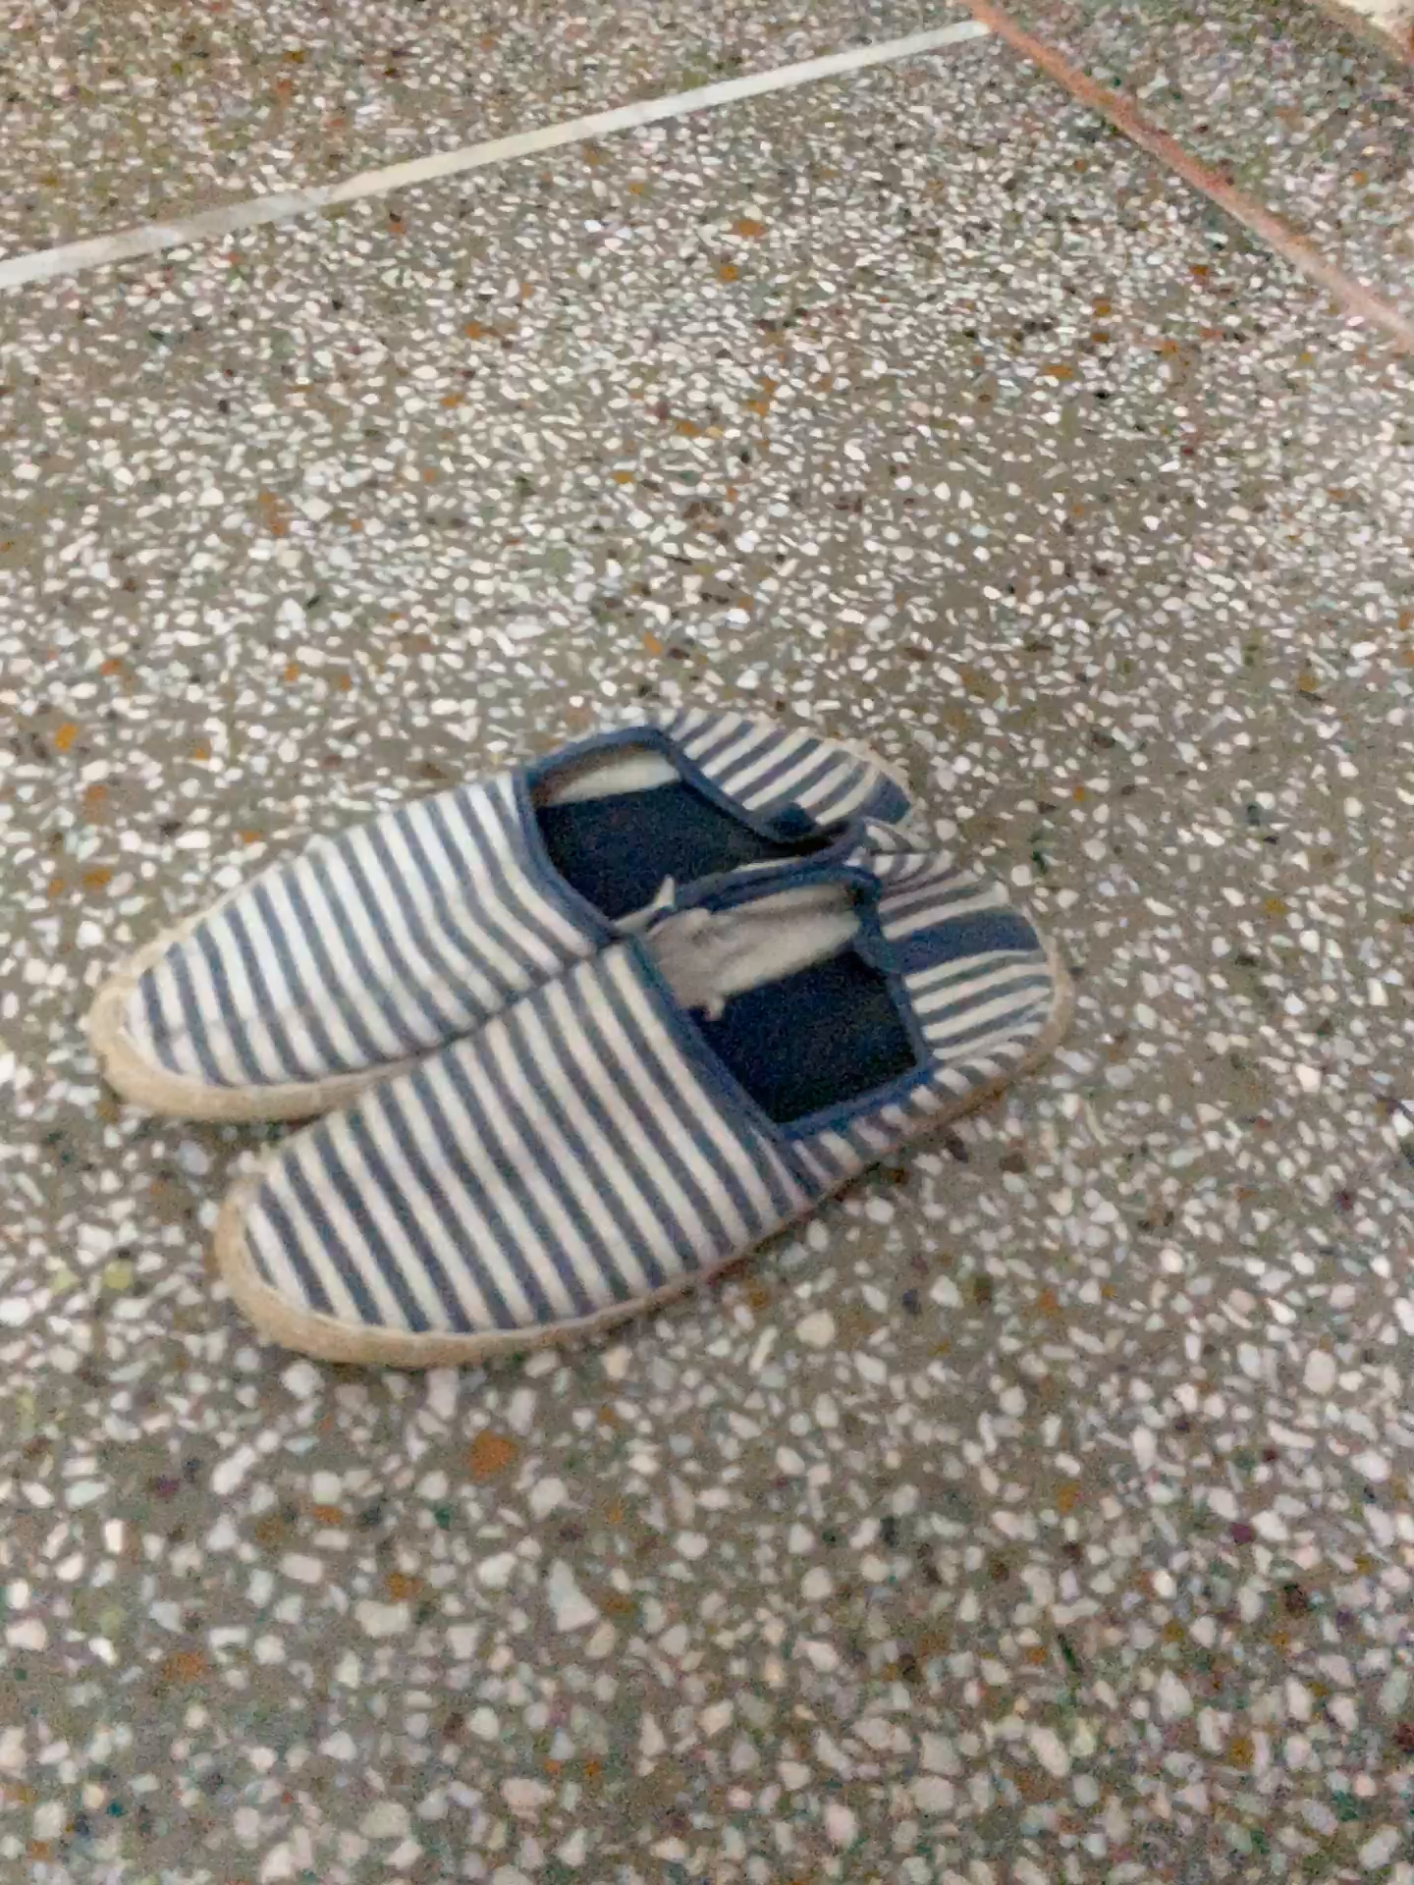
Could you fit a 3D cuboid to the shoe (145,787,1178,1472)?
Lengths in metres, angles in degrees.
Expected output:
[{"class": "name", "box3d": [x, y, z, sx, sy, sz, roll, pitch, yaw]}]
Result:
[{"class": "shoe", "box3d": [-0.008, 0.047, 0.443, 0.290, 0.050, 0.100, -20, 62, -18]}]

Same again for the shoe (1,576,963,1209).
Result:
[{"class": "shoe", "box3d": [-0.065, -0.028, 0.479, 0.289, 0.050, 0.100, -25, 63, -20]}]
